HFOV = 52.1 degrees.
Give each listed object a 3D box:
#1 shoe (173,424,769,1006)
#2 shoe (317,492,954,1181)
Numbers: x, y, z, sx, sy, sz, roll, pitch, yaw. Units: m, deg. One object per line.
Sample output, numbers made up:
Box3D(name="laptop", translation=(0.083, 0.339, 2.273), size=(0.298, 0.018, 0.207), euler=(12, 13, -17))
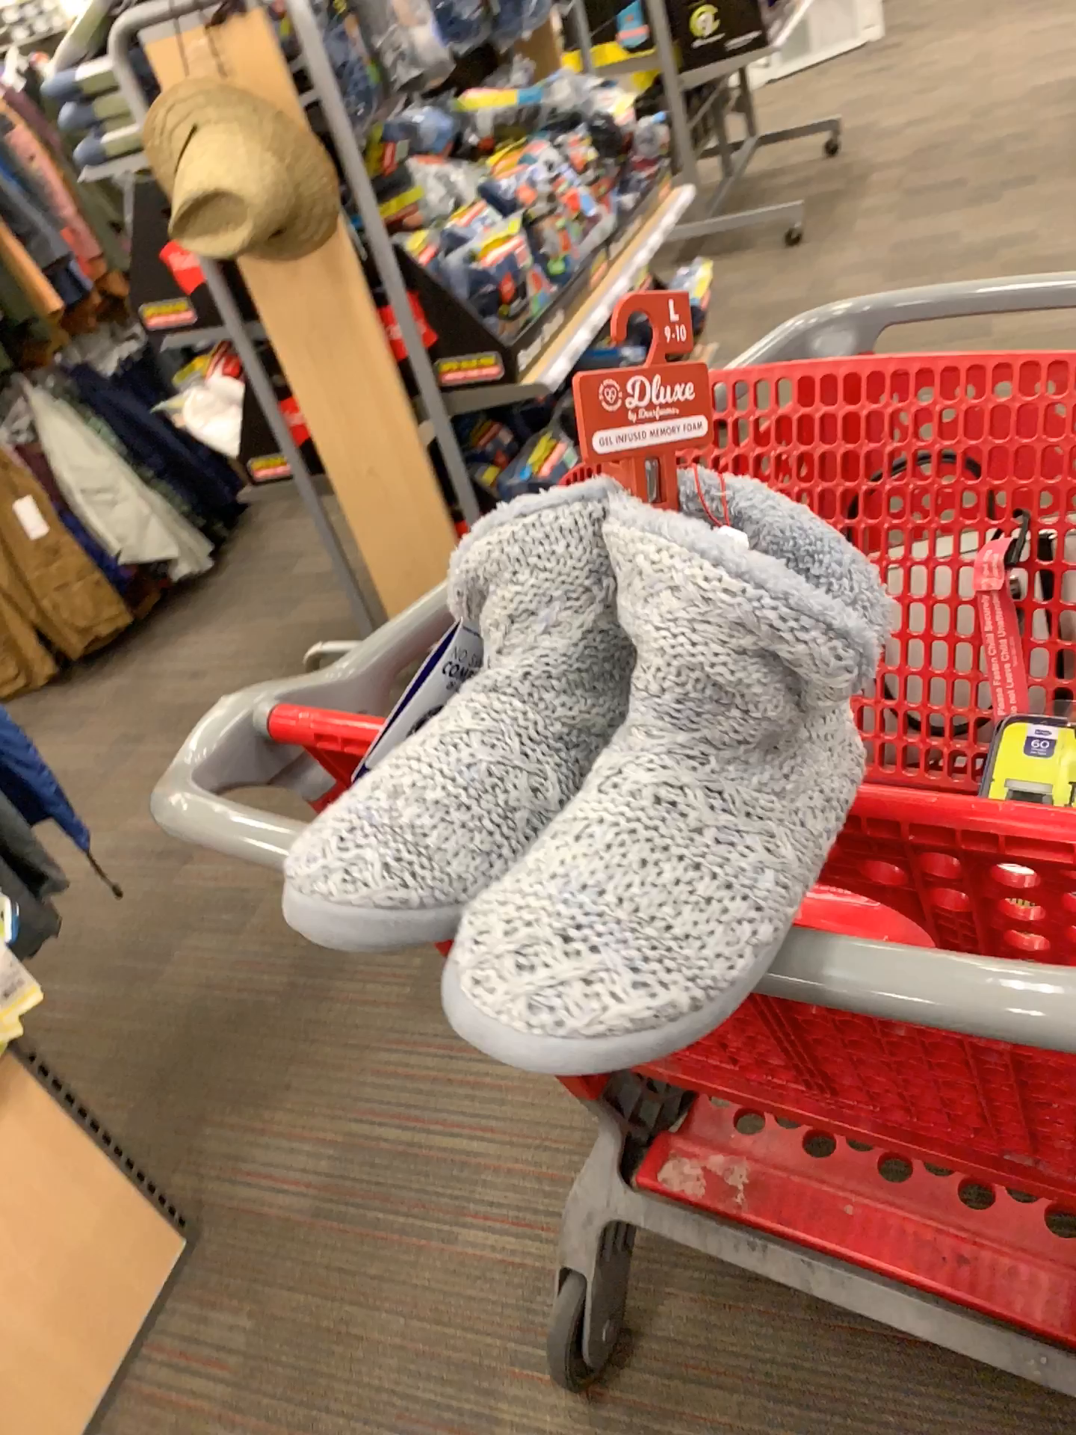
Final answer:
Box3D(name="shoe", translation=(-0.010, -0.021, 0.507), size=(0.110, 0.139, 0.250), euler=(13, 41, 38))
Box3D(name="shoe", translation=(0.055, 0.022, 0.411), size=(0.110, 0.119, 0.230), euler=(13, 41, 38))
